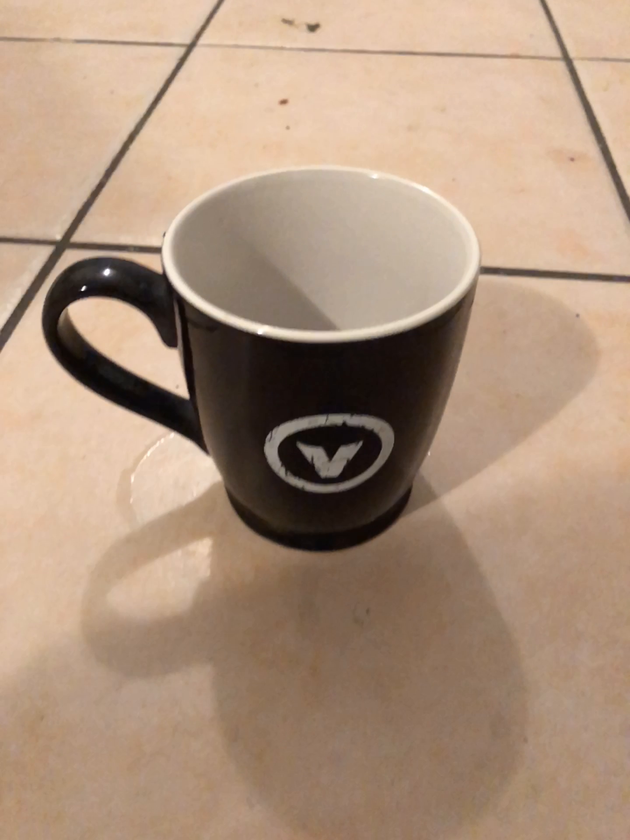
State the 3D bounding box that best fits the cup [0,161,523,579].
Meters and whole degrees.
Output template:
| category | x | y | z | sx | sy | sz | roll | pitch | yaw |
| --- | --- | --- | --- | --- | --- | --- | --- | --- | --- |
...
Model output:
| category | x | y | z | sx | sy | sz | roll | pitch | yaw |
| --- | --- | --- | --- | --- | --- | --- | --- | --- | --- |
| cup | -0.019 | -0.017 | 0.241 | 0.140 | 0.100 | 0.101 | 1 | 45 | 1 |
